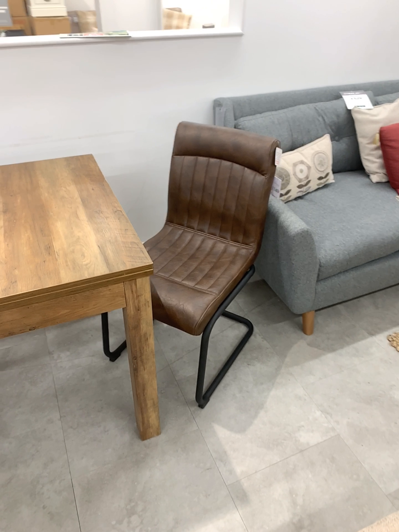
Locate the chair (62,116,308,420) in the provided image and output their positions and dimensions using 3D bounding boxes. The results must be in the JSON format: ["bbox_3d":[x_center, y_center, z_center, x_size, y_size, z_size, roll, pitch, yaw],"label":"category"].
[{"bbox_3d":[-0.012,-0.031,1.482,0.499,0.773,0.636,20,40,25],"label":"chair"}]
